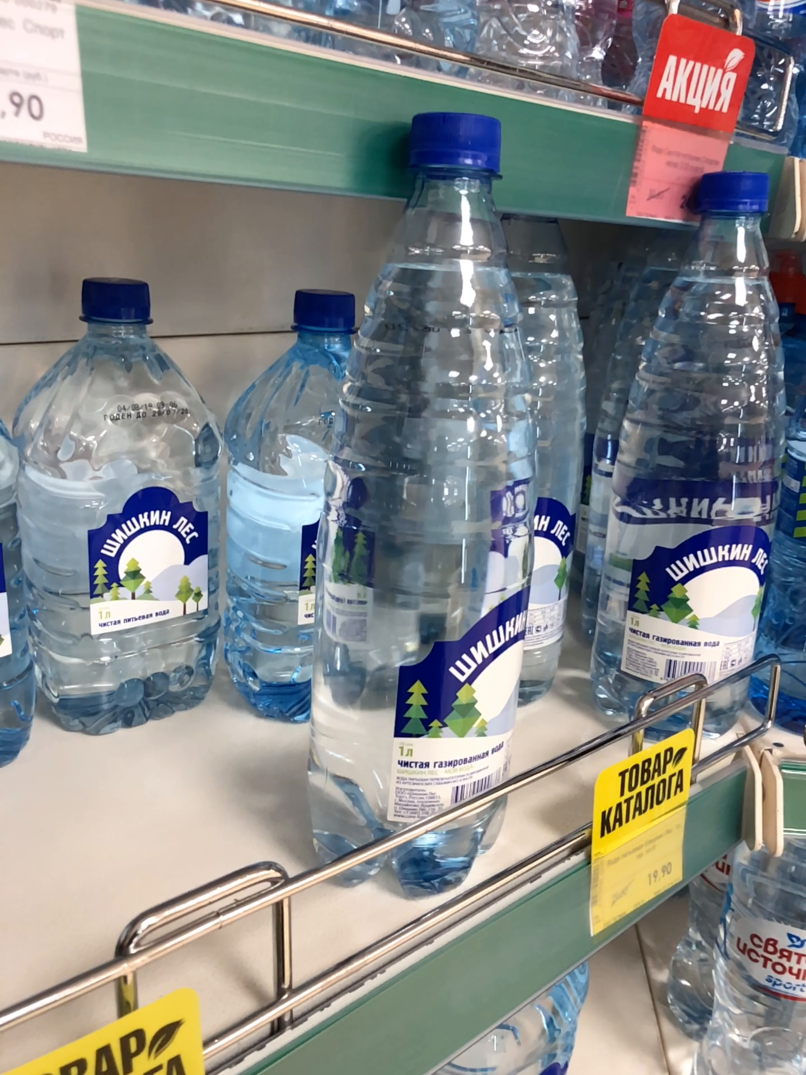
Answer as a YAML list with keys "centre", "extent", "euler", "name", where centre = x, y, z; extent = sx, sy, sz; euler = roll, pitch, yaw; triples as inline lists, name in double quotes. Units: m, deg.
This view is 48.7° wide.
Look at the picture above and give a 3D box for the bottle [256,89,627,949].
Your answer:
- centre: [0.009, -0.005, 0.328]
  extent: [0.080, 0.273, 0.090]
  euler: [18, 24, 40]
  name: "bottle"
